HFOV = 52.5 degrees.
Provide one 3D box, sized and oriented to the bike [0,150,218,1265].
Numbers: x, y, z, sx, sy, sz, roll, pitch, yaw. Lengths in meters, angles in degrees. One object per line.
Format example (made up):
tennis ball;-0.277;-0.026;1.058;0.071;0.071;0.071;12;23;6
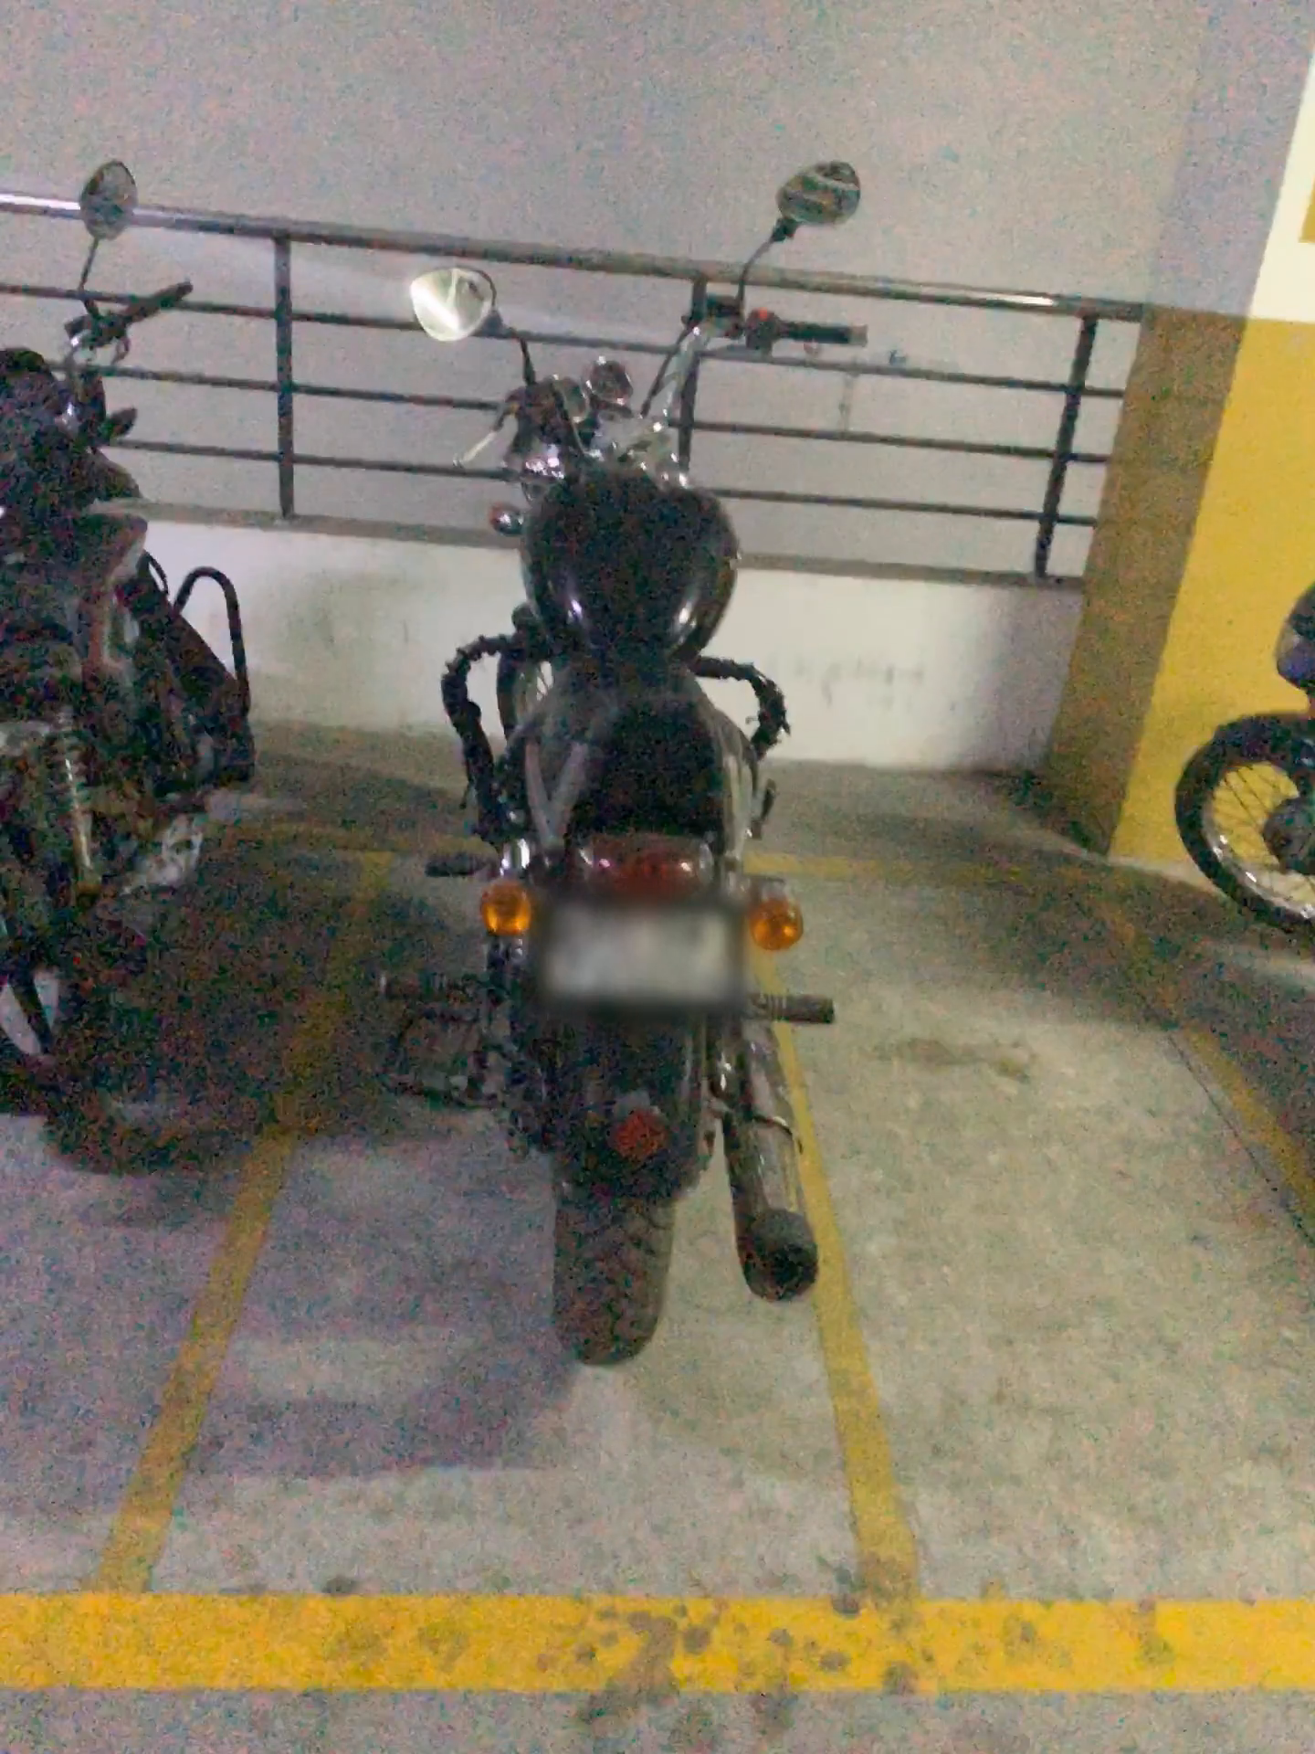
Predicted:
bike;-1.299;-0.466;2.381;0.719;1.277;1.572;2;30;-7

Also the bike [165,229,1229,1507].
bike;-0.167;-0.245;2.101;0.851;1.232;1.807;1;27;-10
